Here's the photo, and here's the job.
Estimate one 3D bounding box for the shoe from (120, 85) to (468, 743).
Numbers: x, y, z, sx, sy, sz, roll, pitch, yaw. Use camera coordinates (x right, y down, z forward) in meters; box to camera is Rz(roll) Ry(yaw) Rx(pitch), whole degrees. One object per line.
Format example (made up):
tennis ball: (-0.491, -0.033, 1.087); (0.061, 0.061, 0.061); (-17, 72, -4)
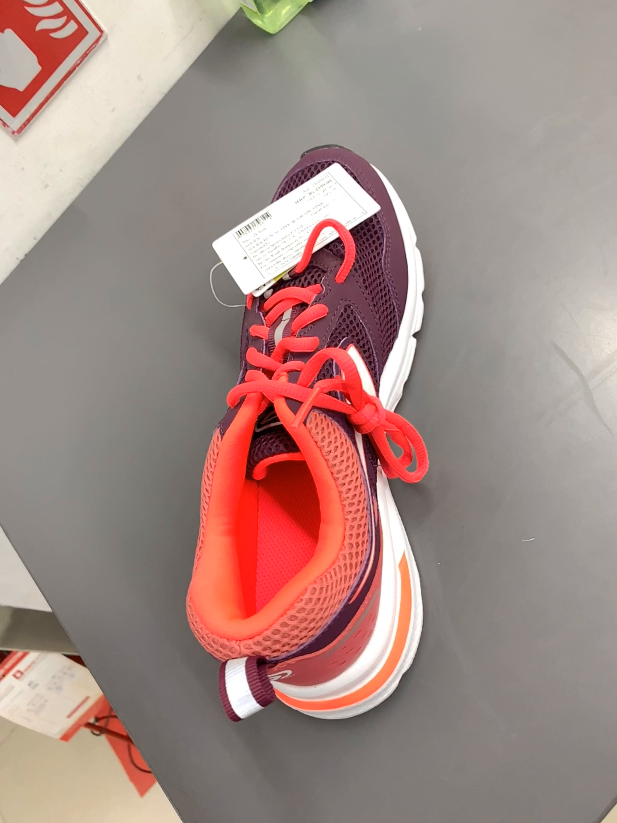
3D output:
shoe: (0.002, -0.001, 0.313); (0.110, 0.100, 0.280); (-9, 65, 22)
